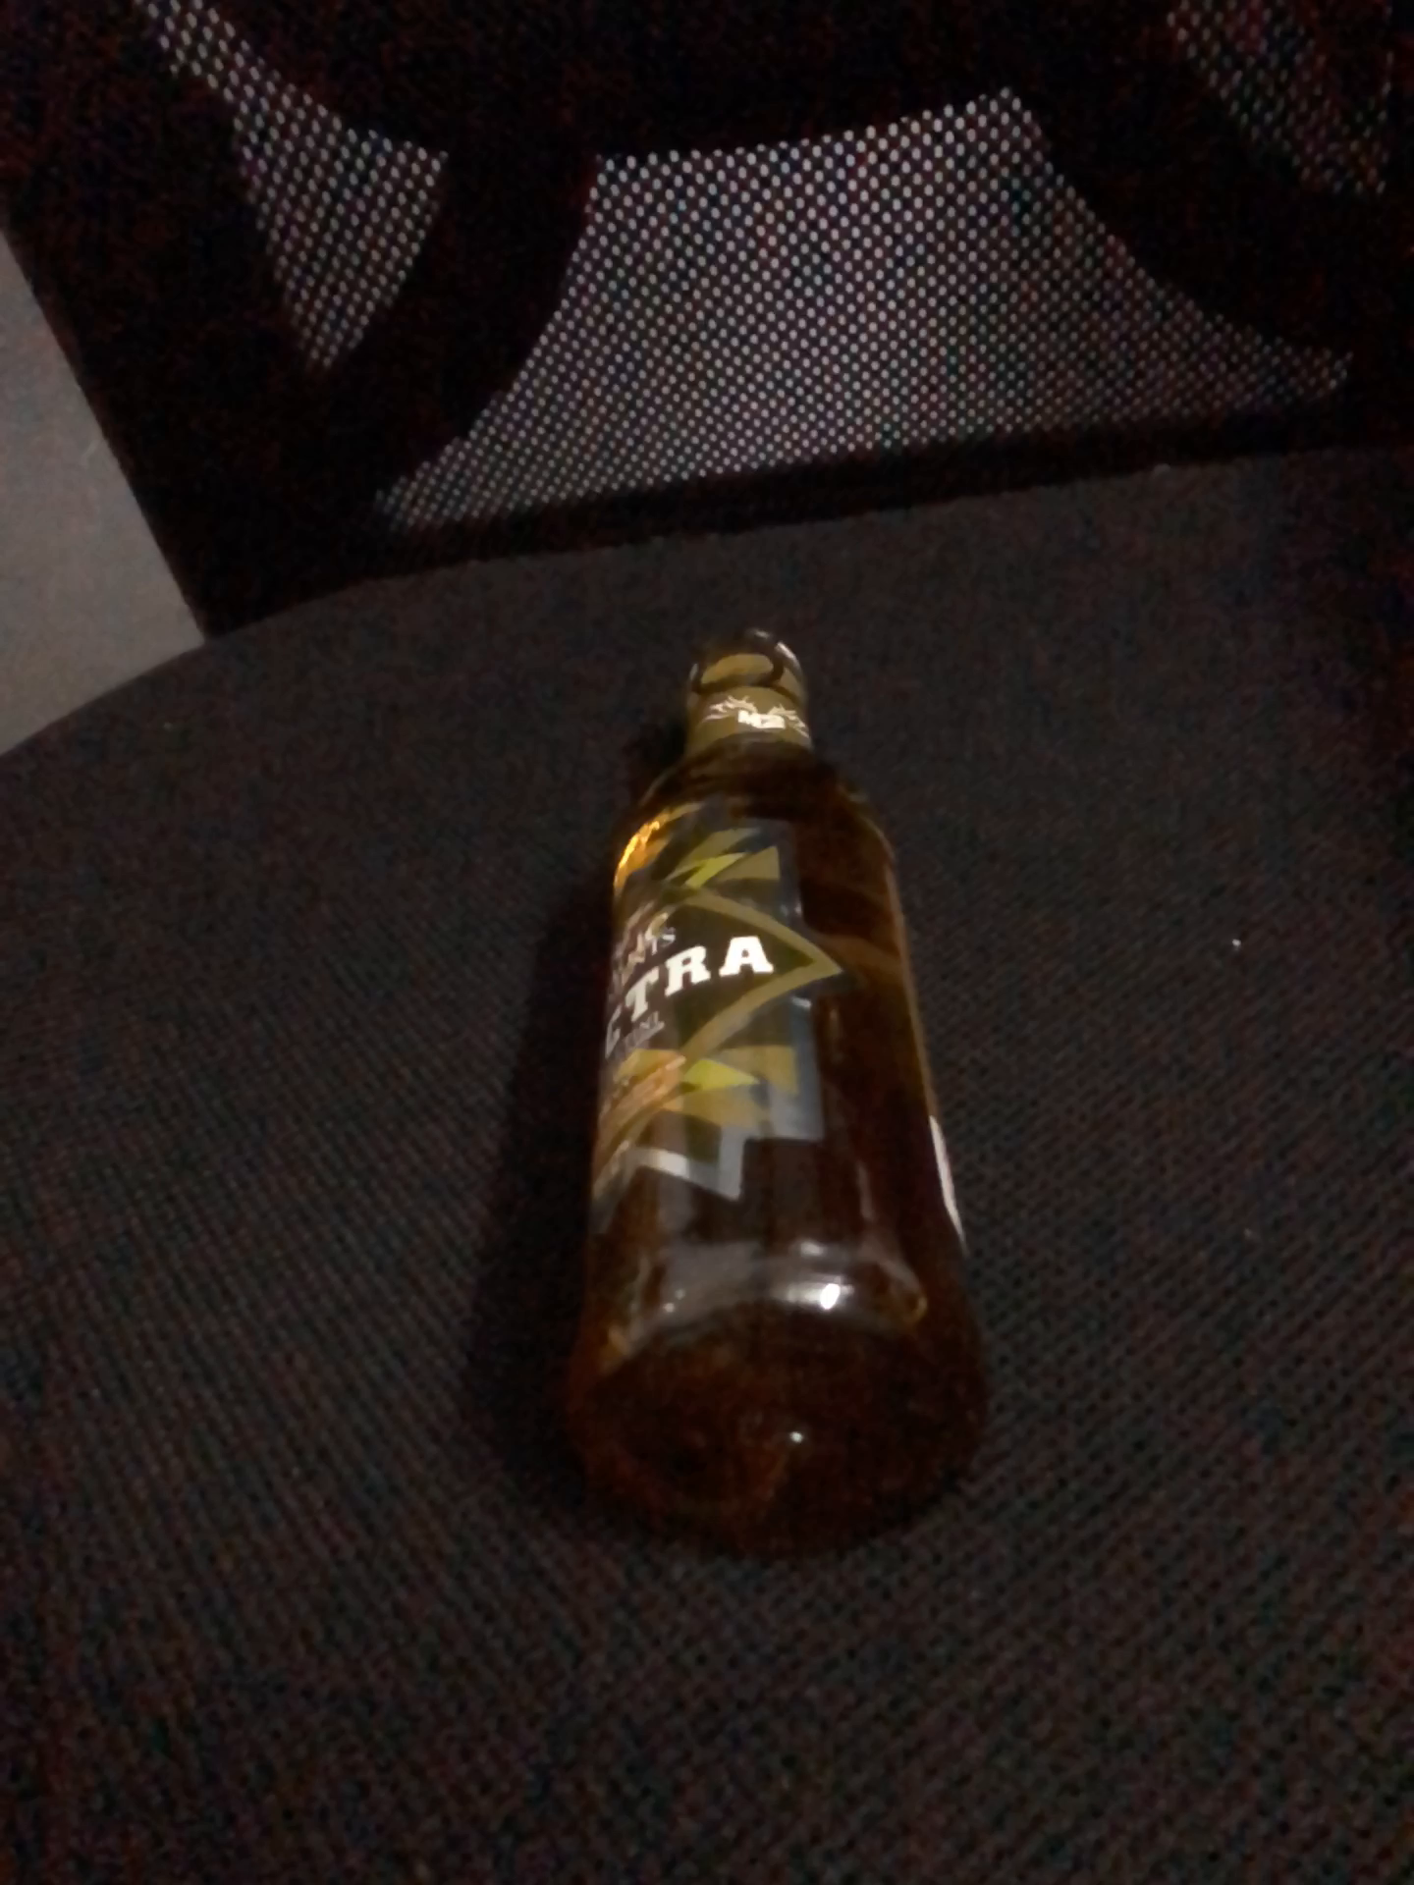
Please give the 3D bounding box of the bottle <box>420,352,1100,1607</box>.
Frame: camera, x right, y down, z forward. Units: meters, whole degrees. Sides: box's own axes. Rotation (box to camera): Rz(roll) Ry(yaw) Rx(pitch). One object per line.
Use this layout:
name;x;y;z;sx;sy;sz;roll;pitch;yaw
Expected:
bottle;0.006;-0.016;0.276;0.070;0.060;0.231;-14;43;12
